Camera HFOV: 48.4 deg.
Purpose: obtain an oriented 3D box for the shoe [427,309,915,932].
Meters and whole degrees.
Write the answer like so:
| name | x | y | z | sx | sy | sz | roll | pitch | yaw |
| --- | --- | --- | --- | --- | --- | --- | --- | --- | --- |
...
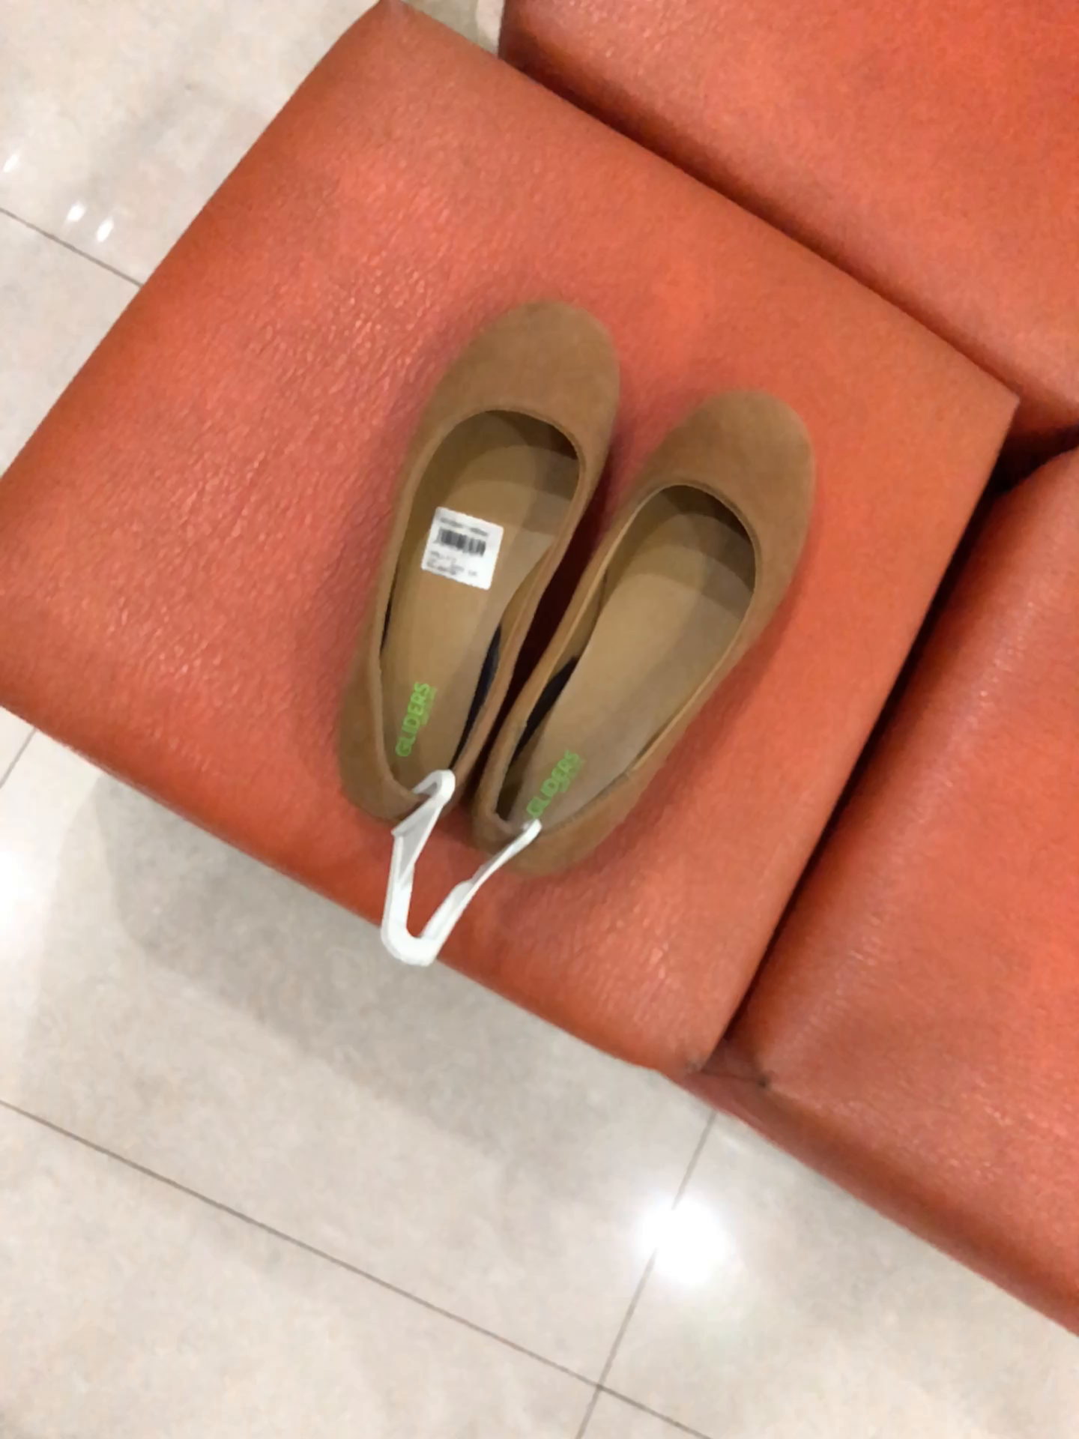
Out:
| name | x | y | z | sx | sy | sz | roll | pitch | yaw |
| --- | --- | --- | --- | --- | --- | --- | --- | --- | --- |
| shoe | 0.065 | -0.047 | 0.583 | 0.097 | 0.071 | 0.286 | 32 | 76 | -4 |

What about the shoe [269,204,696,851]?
| name | x | y | z | sx | sy | sz | roll | pitch | yaw |
| --- | --- | --- | --- | --- | --- | --- | --- | --- | --- |
| shoe | -0.025 | -0.091 | 0.575 | 0.094 | 0.071 | 0.286 | 23 | 76 | -4 |
